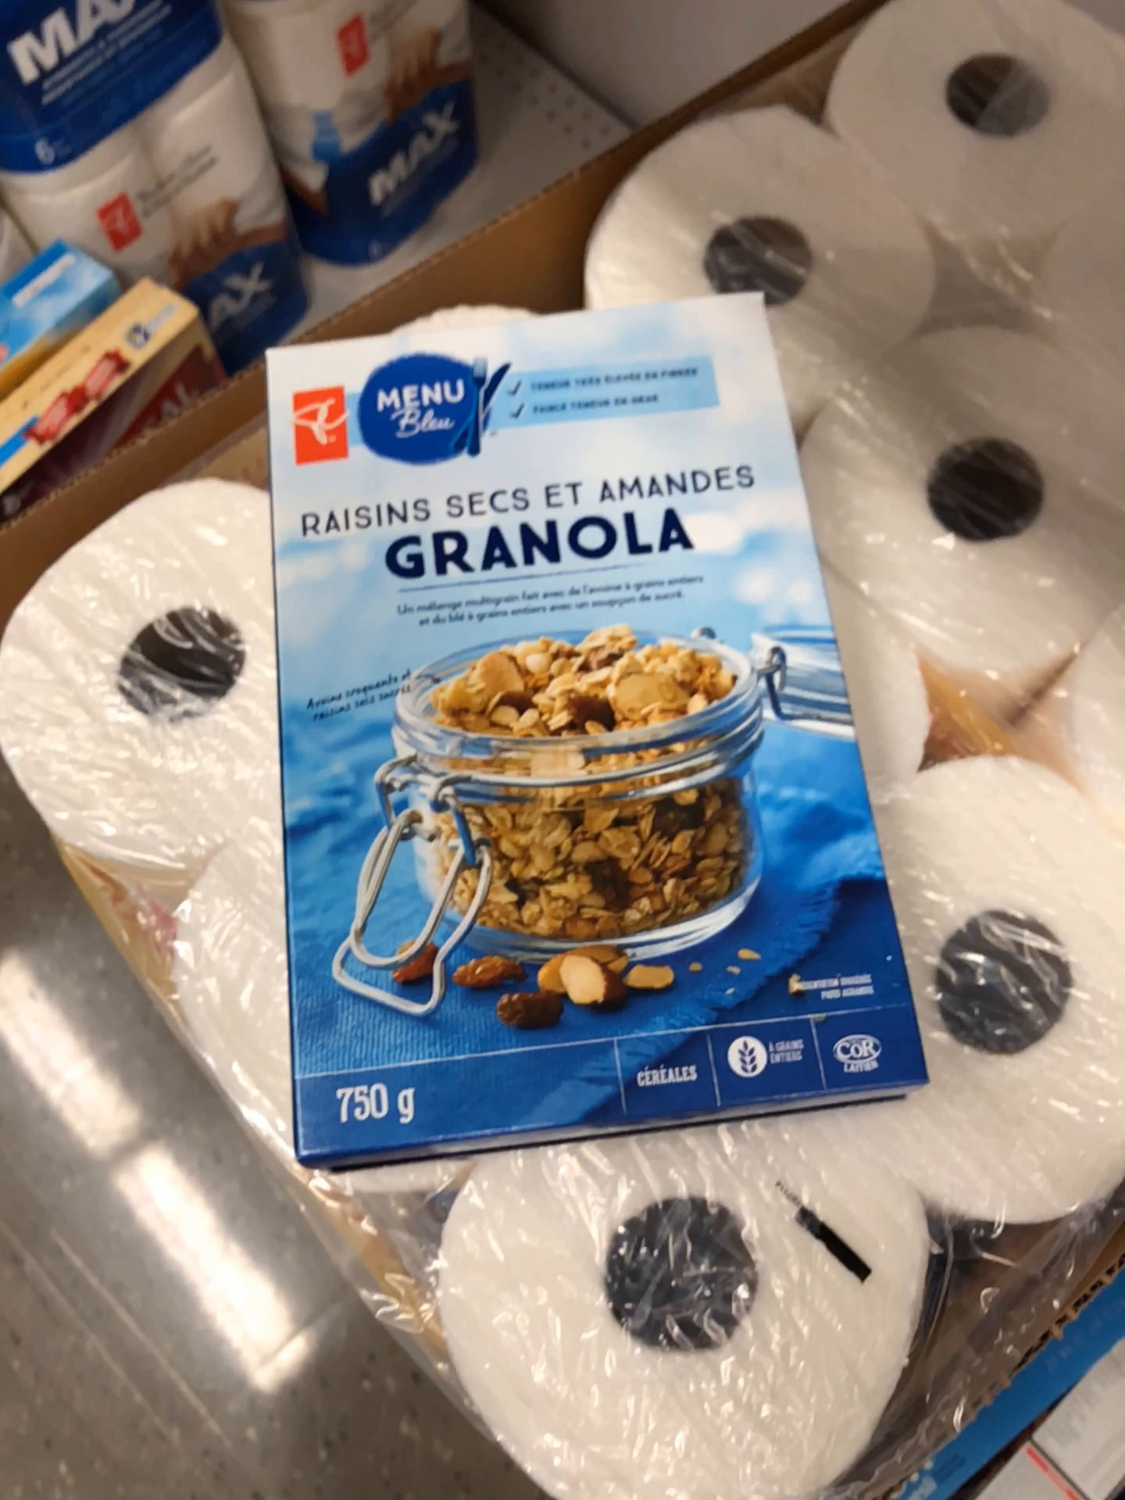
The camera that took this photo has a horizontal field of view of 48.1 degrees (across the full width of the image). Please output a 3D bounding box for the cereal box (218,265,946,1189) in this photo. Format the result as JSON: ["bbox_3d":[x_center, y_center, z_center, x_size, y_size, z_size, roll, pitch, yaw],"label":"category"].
[{"bbox_3d":[-0.007,-0.014,0.370,0.170,0.060,0.250,-6,68,-1],"label":"cereal box"}]
